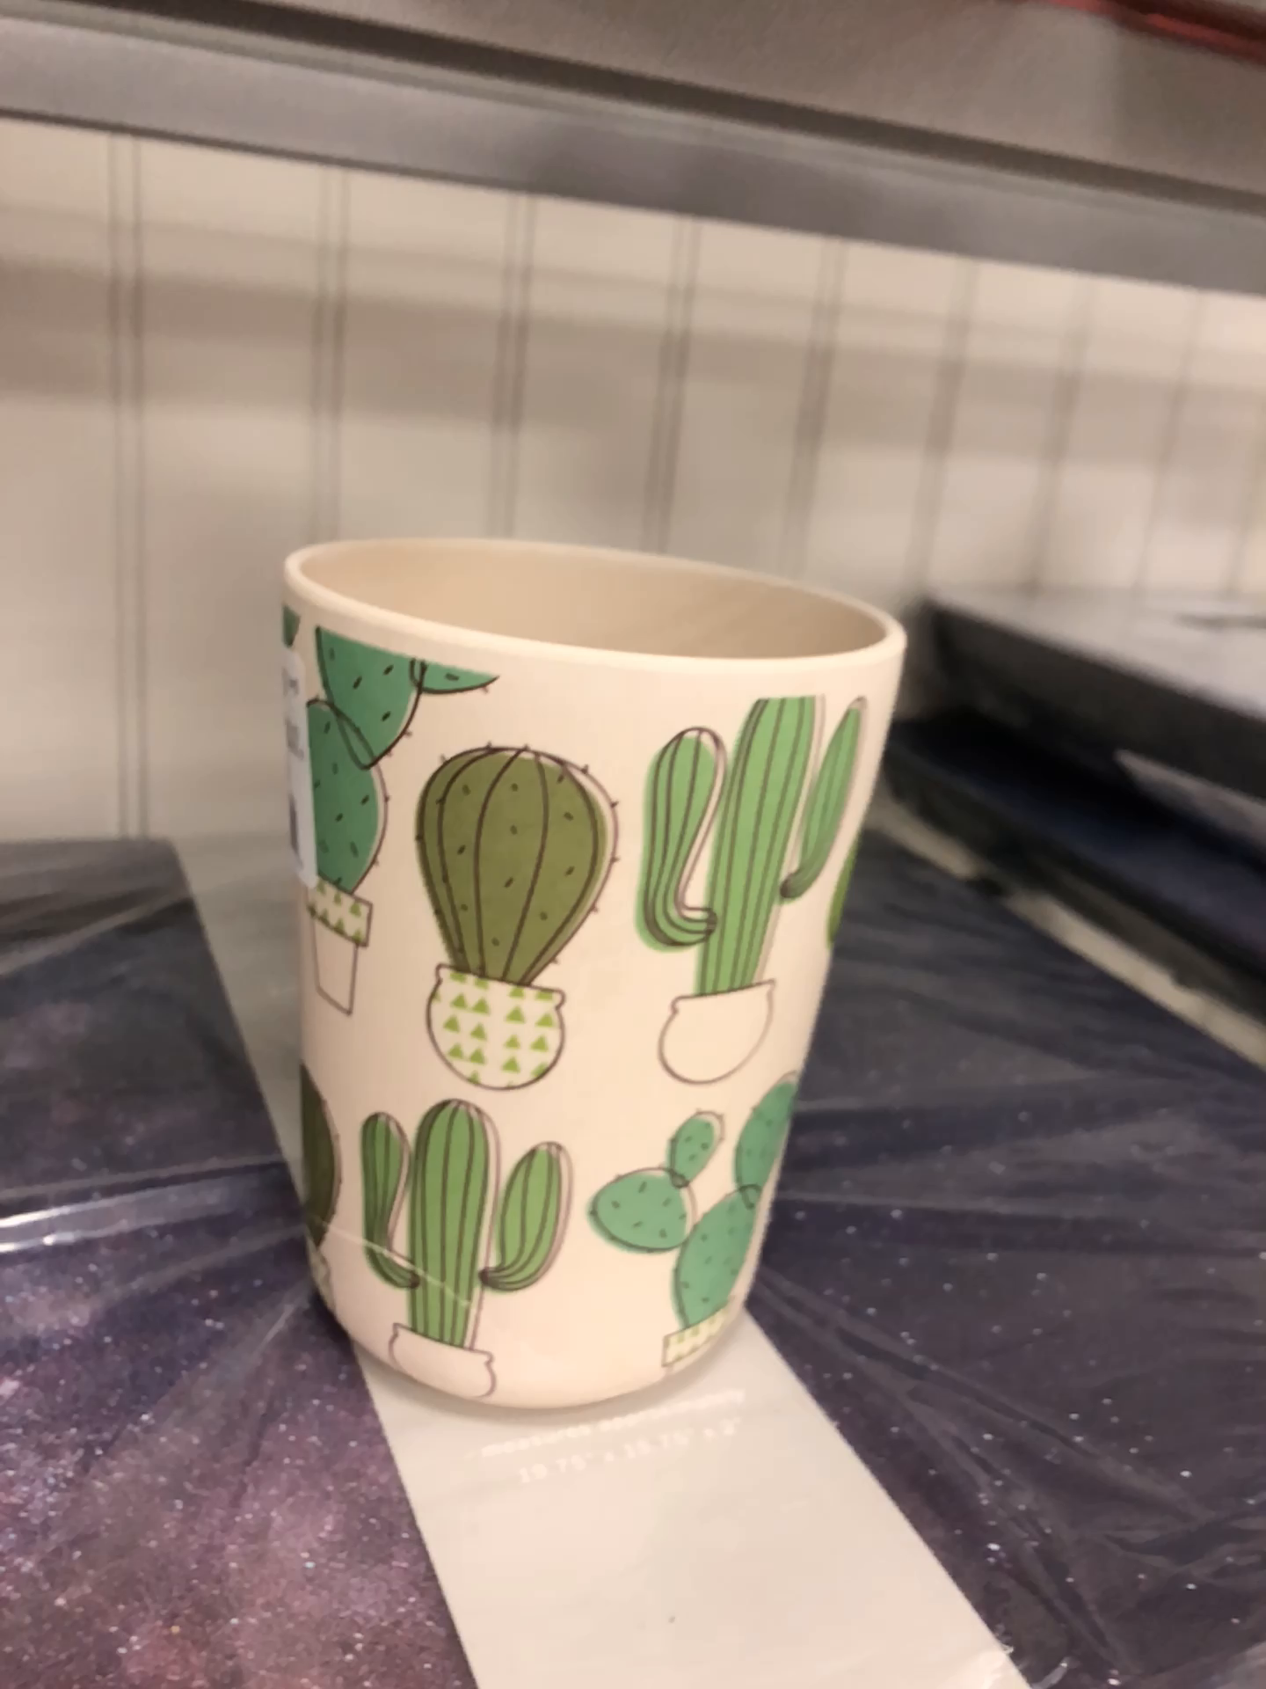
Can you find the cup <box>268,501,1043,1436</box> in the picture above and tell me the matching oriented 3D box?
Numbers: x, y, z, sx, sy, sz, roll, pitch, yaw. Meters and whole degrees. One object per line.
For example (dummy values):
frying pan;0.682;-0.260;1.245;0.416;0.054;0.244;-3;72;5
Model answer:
cup;-0.007;0.016;0.248;0.100;0.129;0.091;3;20;-10
